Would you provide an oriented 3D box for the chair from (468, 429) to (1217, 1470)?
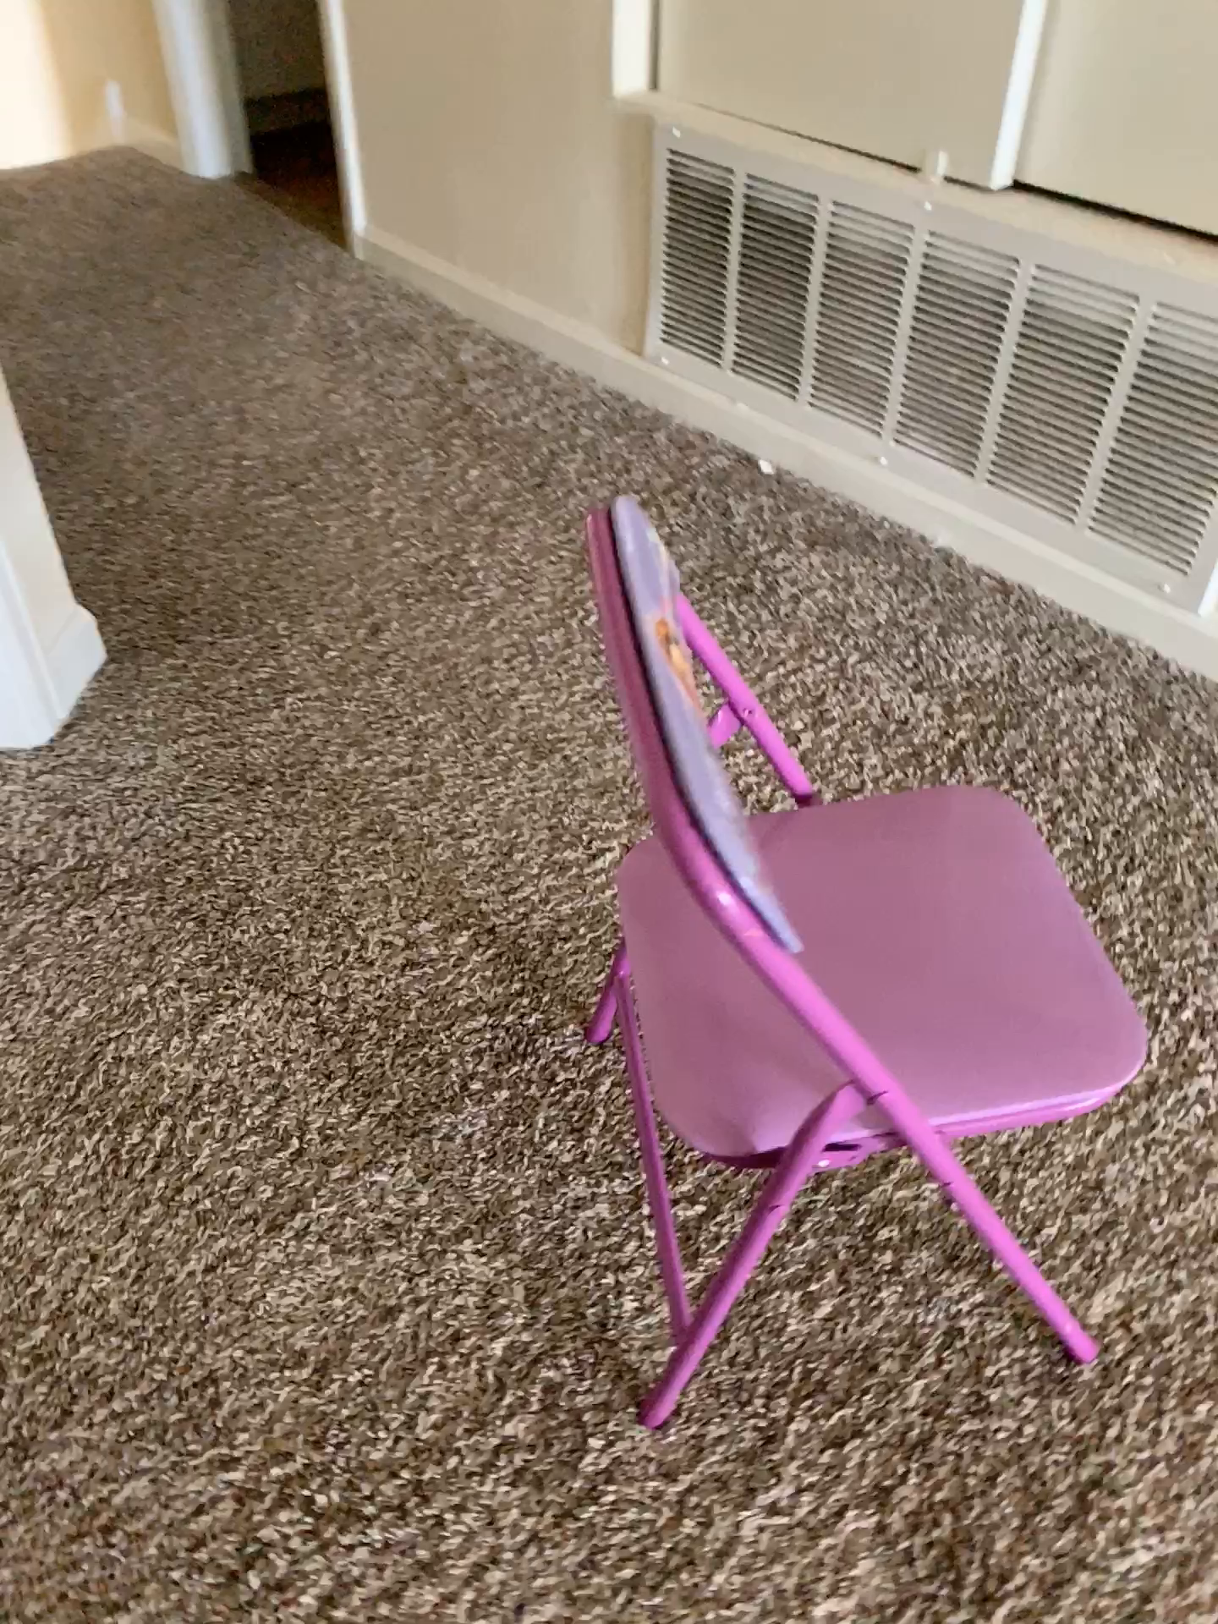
[{"bbox_3d":[0.135,0.081,0.761,0.390,0.468,0.382,-5,42,-7],"label":"chair"}]
